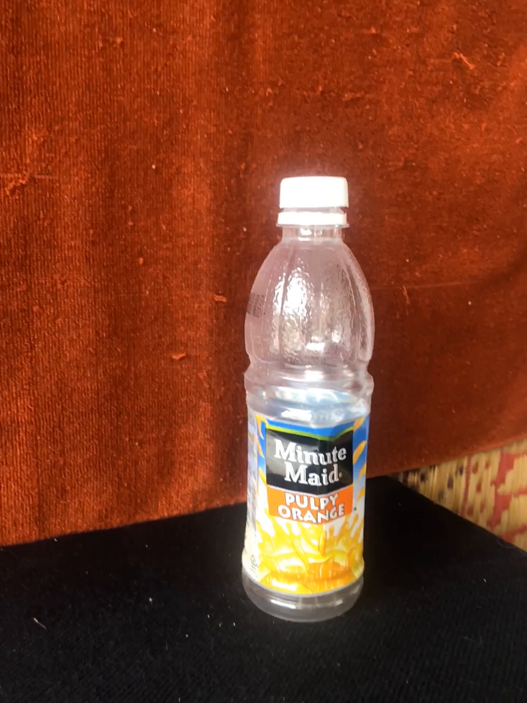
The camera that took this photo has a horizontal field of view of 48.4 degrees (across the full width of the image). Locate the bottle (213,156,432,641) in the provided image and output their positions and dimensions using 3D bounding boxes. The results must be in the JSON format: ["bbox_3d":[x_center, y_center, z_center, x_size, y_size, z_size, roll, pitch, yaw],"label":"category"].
[{"bbox_3d":[0.019,0.020,0.273,0.070,0.199,0.070,3,11,-1],"label":"bottle"}]
